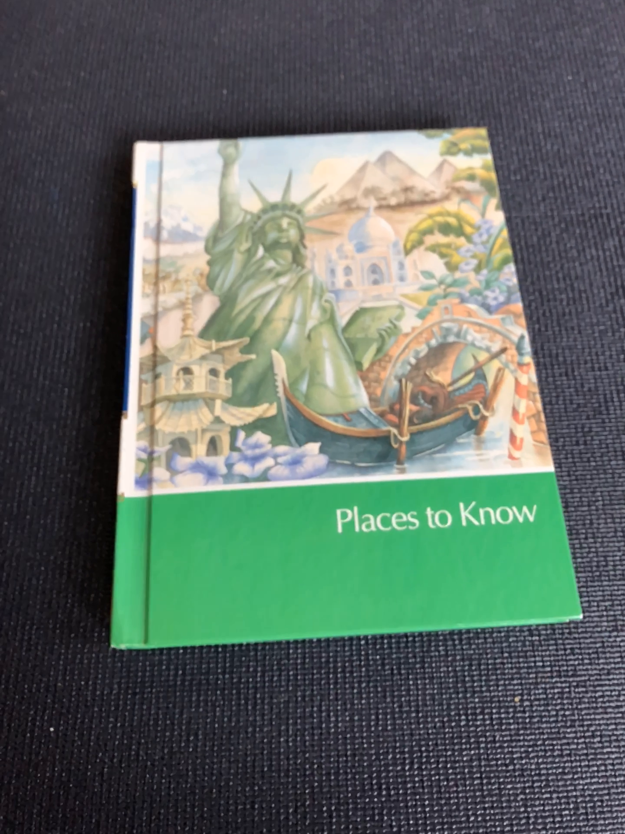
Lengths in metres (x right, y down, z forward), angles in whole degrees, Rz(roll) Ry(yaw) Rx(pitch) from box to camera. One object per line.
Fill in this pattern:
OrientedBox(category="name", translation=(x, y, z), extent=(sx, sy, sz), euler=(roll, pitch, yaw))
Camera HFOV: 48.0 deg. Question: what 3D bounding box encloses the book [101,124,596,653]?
OrientedBox(category="book", translation=(0.007, -0.028, 0.330), extent=(0.190, 0.030, 0.250), euler=(-3, 68, -2))
